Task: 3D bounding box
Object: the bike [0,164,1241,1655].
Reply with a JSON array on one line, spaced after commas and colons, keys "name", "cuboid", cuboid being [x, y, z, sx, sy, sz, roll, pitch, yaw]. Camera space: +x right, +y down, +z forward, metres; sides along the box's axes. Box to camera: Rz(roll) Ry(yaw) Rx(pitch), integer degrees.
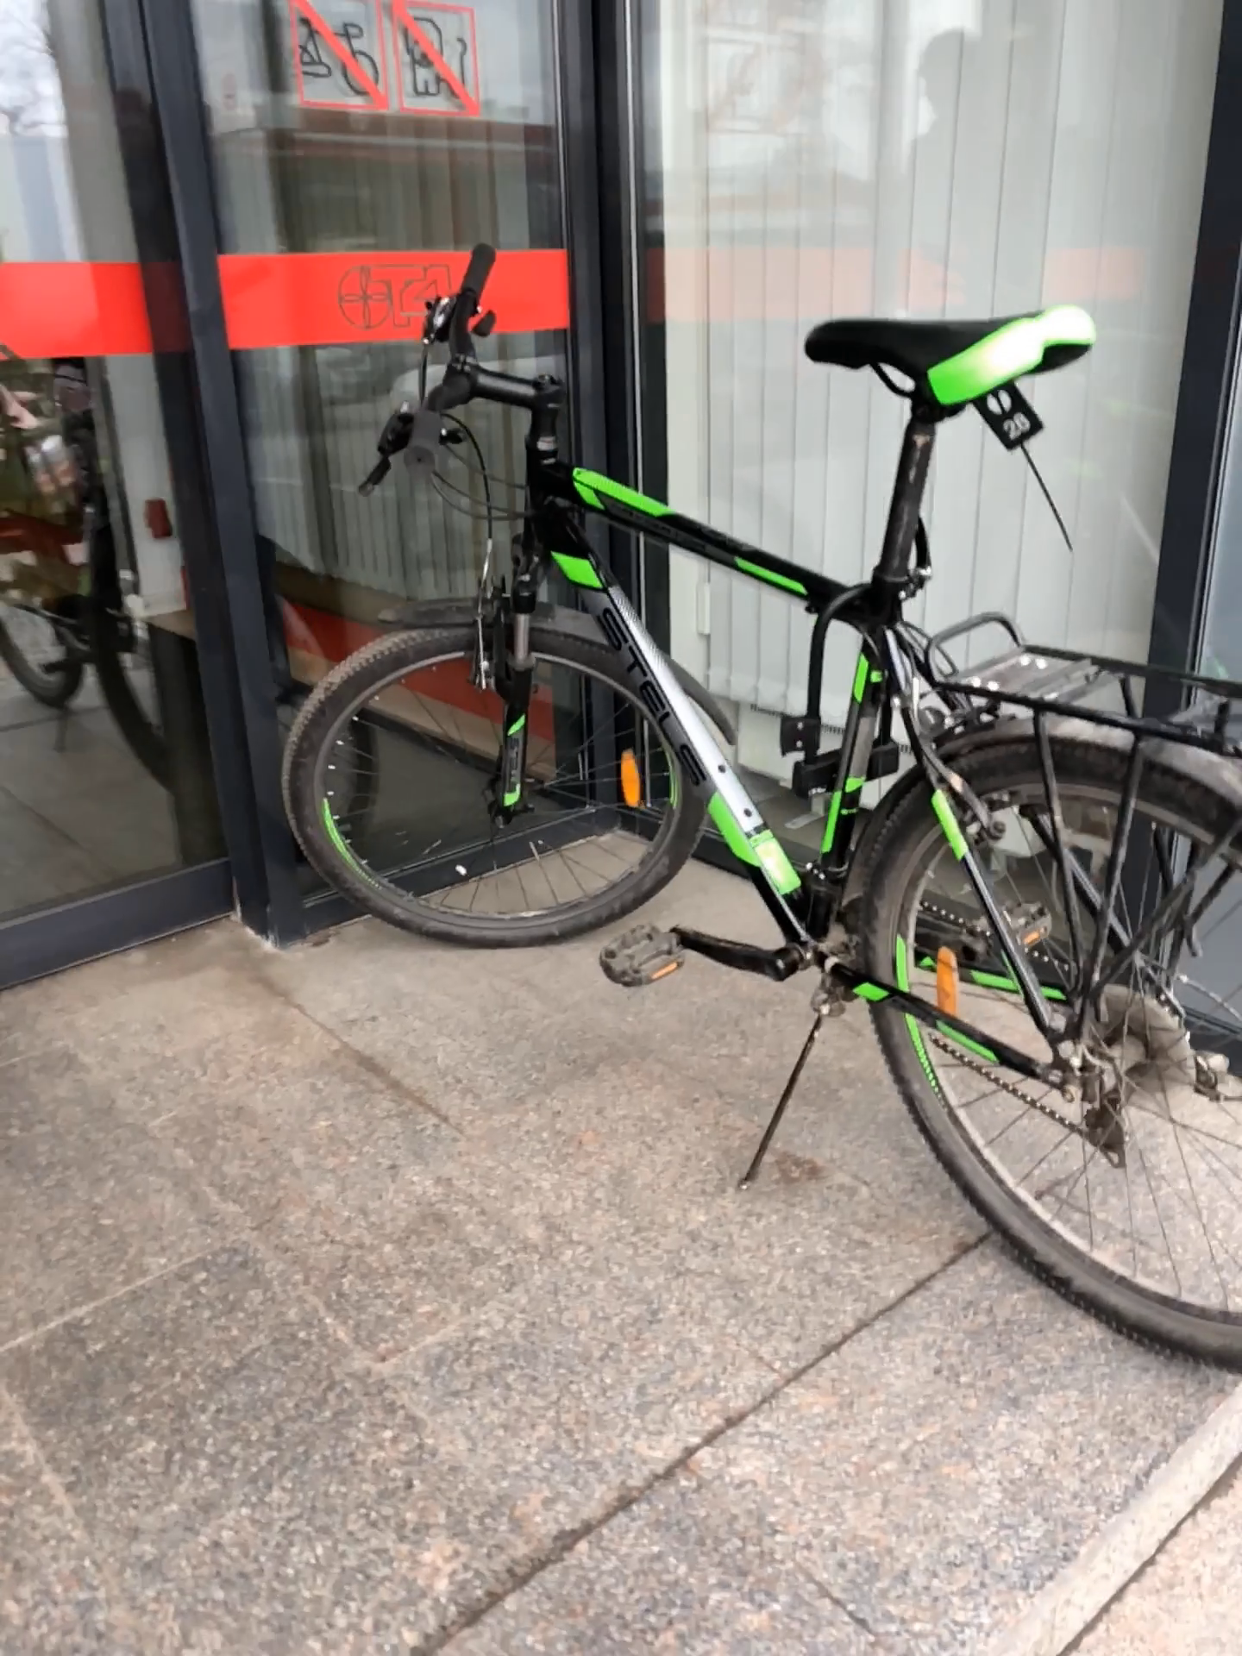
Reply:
[{"name": "bike", "cuboid": [0.068, -0.046, 1.453, 1.548, 1.051, 0.630, 17, 28, 39]}]
